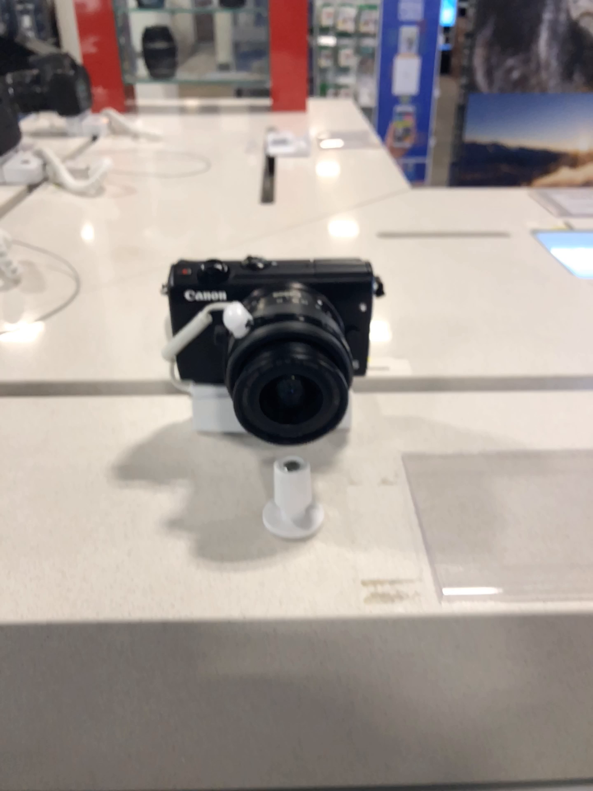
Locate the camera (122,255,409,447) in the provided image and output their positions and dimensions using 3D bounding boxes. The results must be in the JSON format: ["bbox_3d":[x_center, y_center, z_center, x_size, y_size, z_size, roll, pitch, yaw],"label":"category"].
[{"bbox_3d":[-0.013,-0.026,0.331,0.120,0.060,0.091,-1,31,0],"label":"camera"}]
